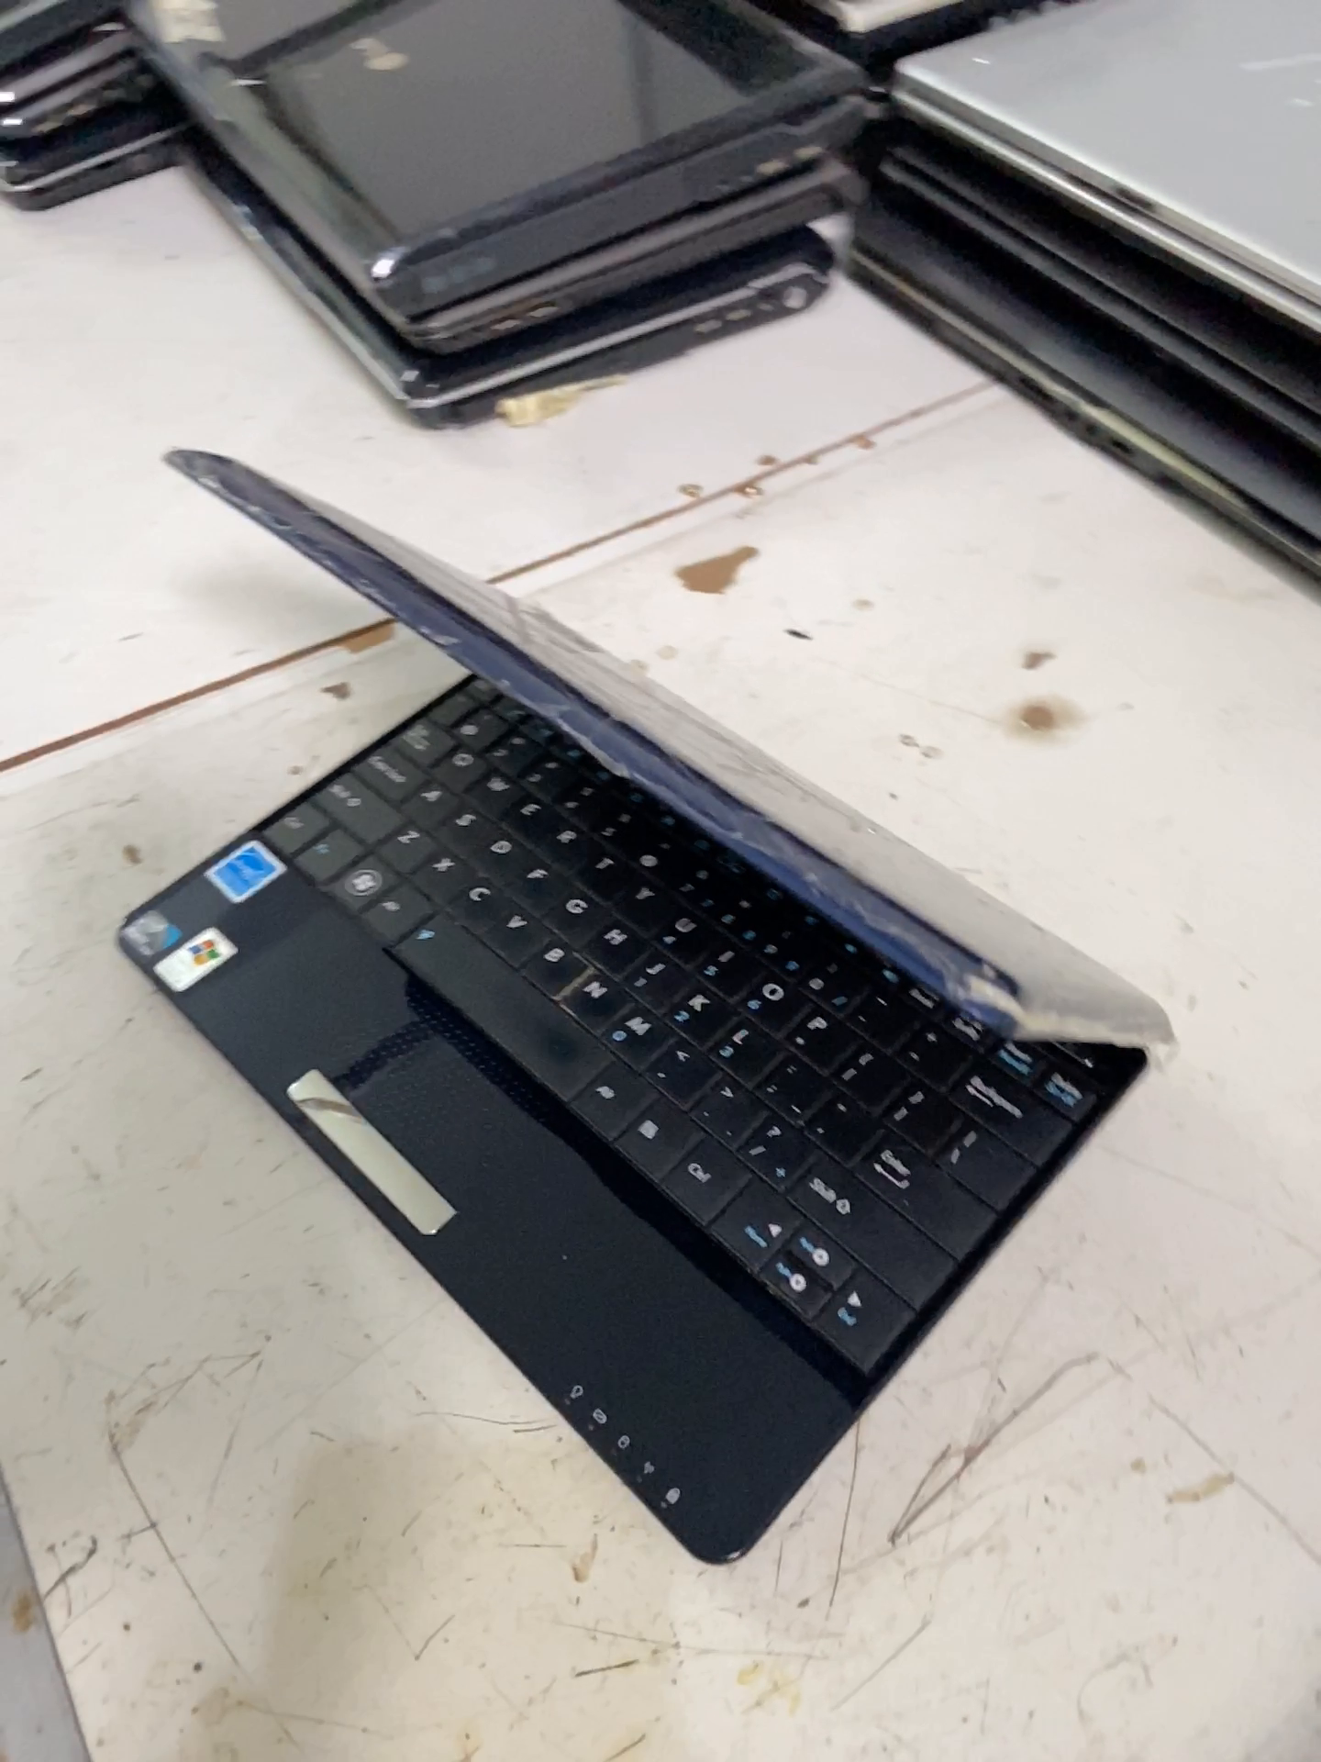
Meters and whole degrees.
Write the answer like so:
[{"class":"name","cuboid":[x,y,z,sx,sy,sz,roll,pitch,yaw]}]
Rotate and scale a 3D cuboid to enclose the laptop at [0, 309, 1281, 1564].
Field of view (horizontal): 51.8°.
[{"class":"laptop","cuboid":[-0.023,-0.008,0.350,0.259,0.121,0.170,36,63,28]}]
